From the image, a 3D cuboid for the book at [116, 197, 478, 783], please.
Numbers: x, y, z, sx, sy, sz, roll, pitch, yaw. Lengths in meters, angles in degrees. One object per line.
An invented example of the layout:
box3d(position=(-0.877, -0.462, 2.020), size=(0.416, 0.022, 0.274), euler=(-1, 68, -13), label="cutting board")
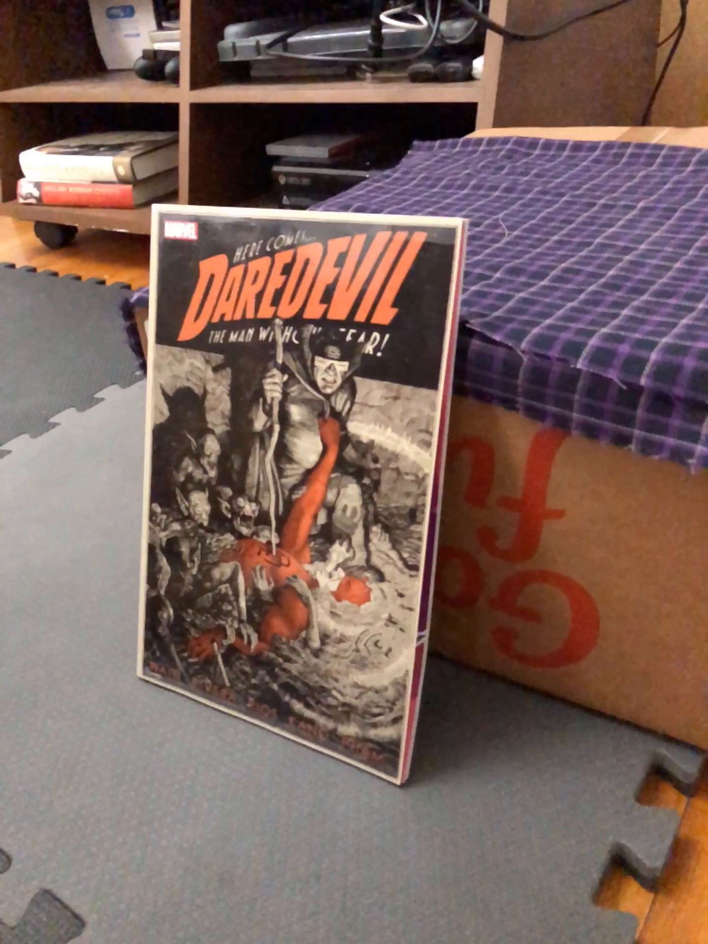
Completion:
box3d(position=(-0.038, 0.002, 0.346), size=(0.160, 0.229, 0.020), euler=(12, 15, 27), label="book")
